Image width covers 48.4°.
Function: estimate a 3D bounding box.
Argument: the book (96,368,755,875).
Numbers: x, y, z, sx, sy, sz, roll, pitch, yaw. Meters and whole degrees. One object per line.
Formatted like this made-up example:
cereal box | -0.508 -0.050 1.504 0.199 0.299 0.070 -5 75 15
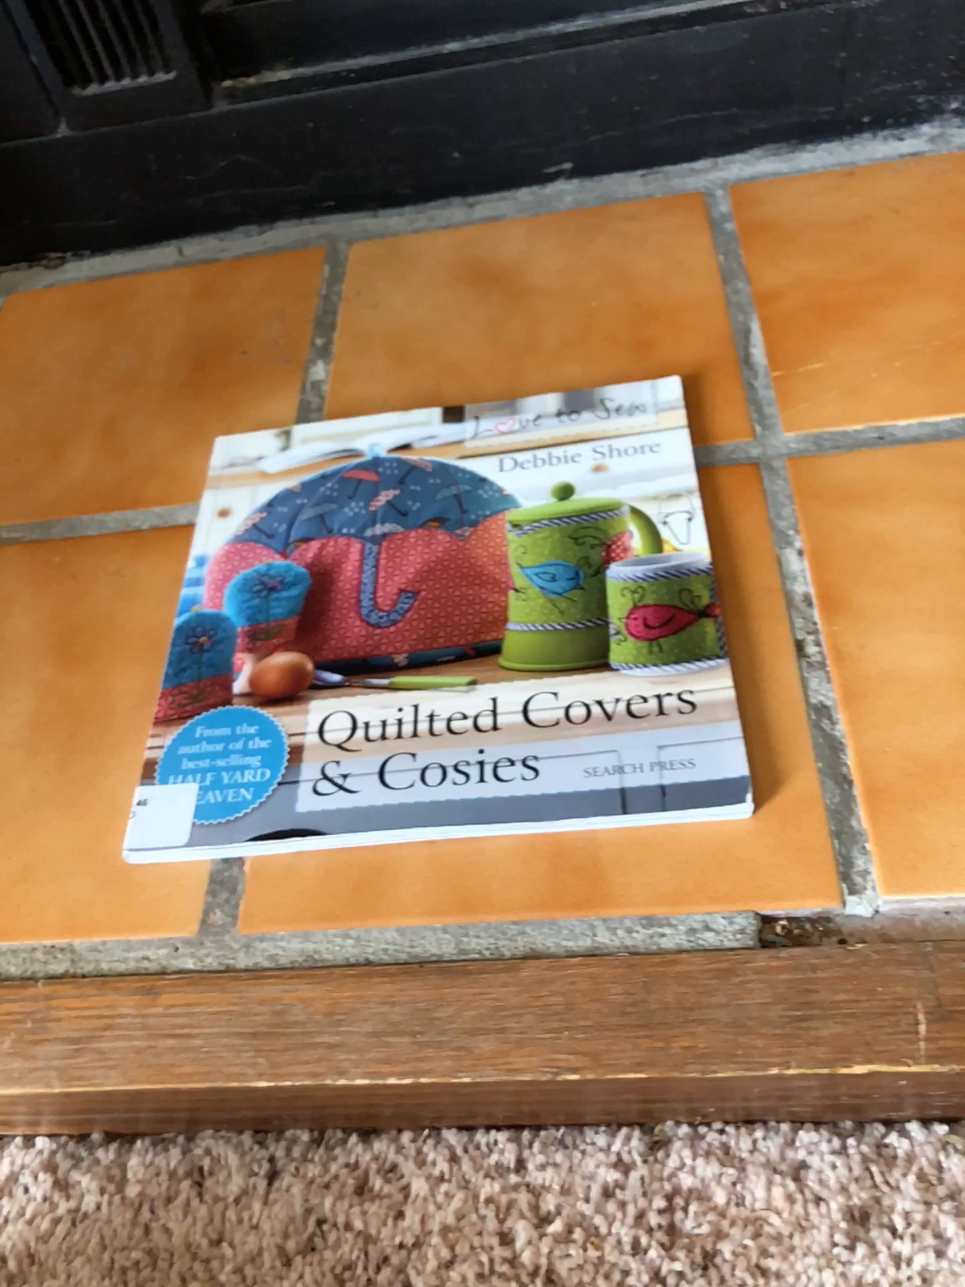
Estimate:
book | -0.023 -0.020 0.431 0.224 0.015 0.219 -6 52 7
